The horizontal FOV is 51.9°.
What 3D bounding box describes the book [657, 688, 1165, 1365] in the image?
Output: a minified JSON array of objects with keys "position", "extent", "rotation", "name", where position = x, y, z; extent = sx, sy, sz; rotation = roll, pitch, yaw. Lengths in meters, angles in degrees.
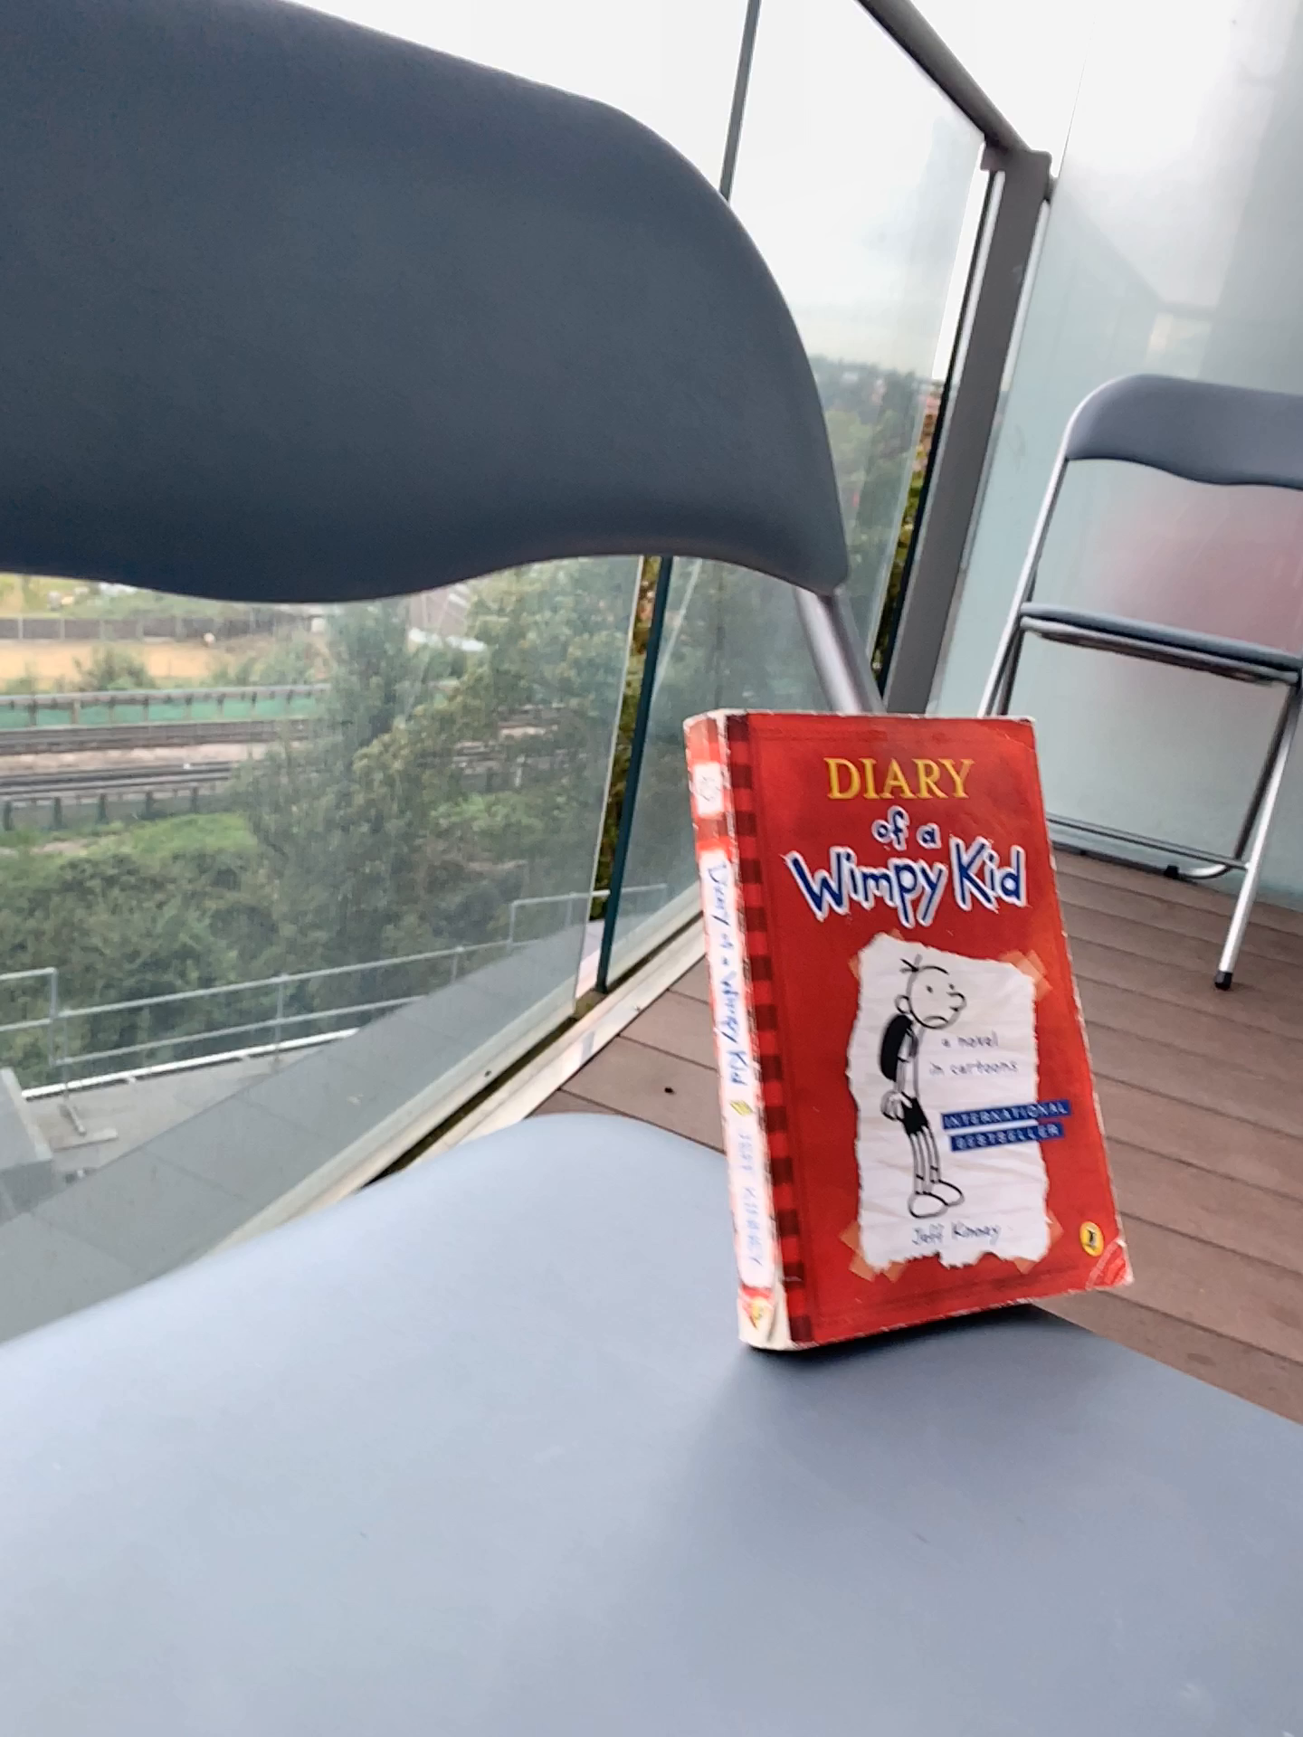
[{"position":[0.087,0.044,0.447],"extent":[0.150,0.201,0.040],"rotation":[-1,-10,-25],"name":"book"}]
